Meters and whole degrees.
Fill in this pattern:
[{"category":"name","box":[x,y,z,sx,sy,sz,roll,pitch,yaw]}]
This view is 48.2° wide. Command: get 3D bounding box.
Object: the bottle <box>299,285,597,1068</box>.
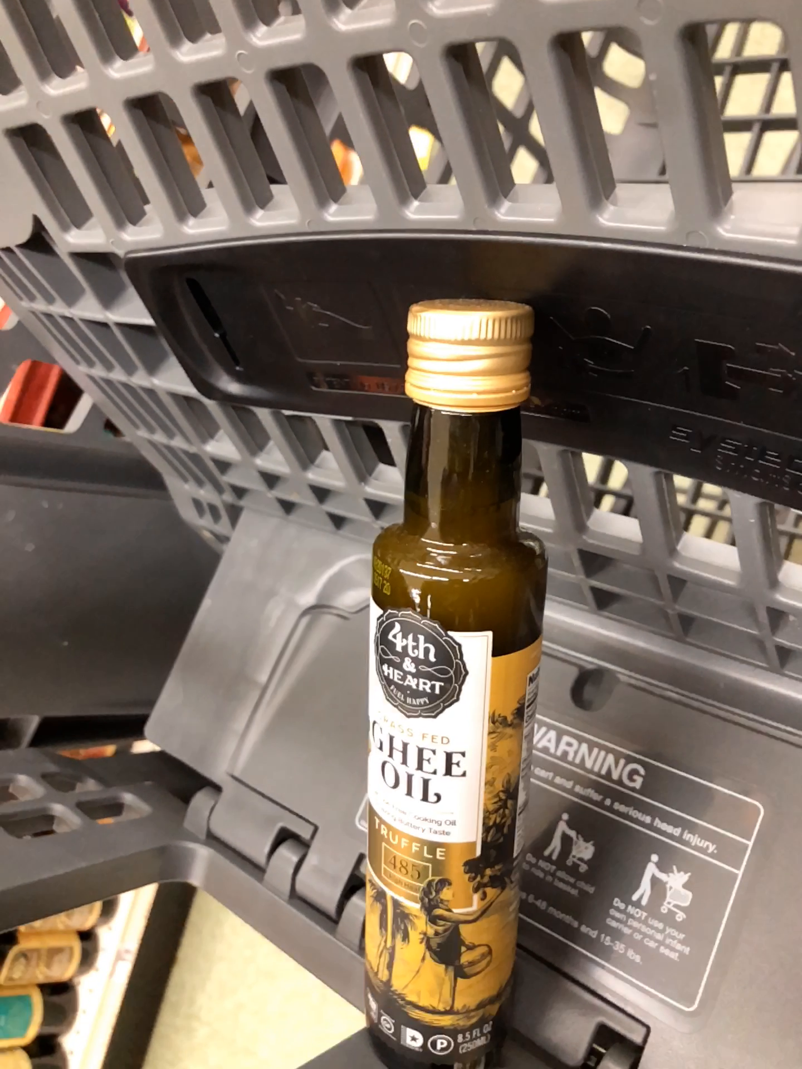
[{"category":"bottle","box":[0.011,0.059,0.263,0.054,0.050,0.250,17,116,37]}]
